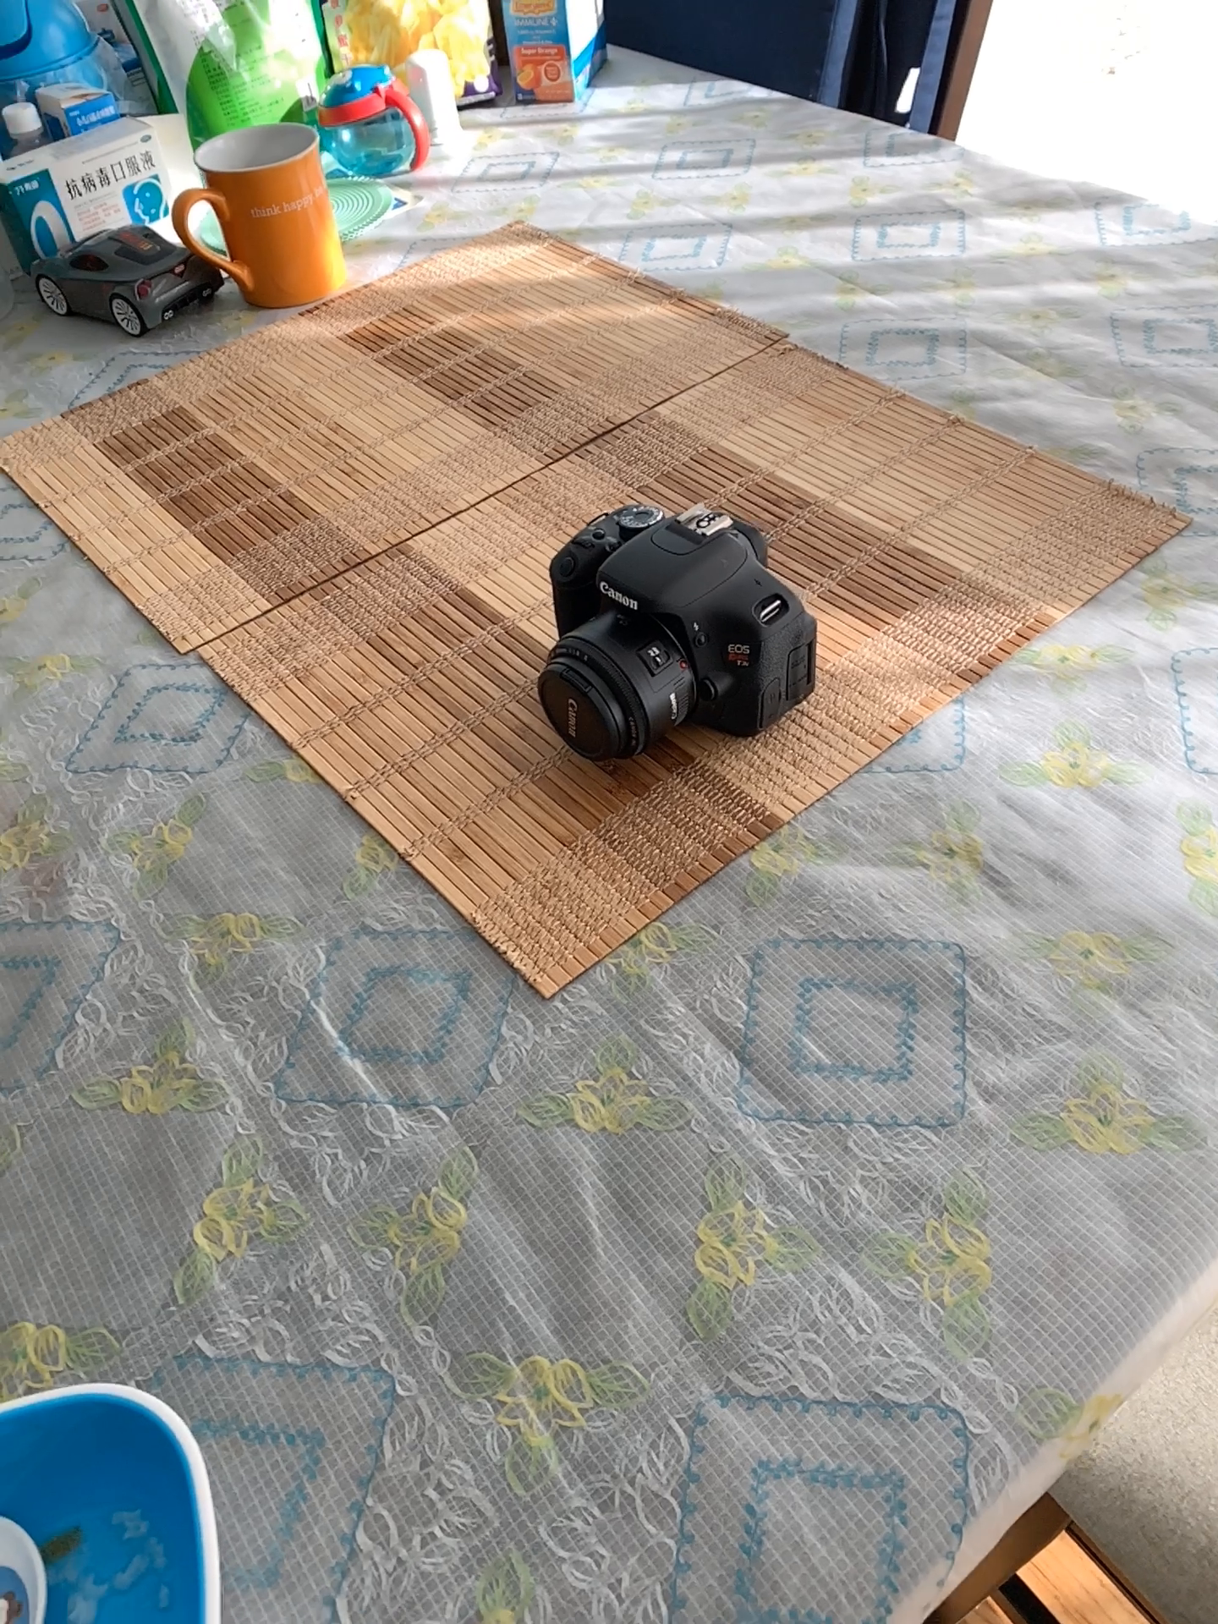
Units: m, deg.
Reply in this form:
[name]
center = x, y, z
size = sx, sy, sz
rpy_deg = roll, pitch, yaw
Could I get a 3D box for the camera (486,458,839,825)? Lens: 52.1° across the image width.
[camera]
center = 0.028, -0.084, 0.596
size = 0.125, 0.092, 0.100
rpy_deg = -37, 53, -25
